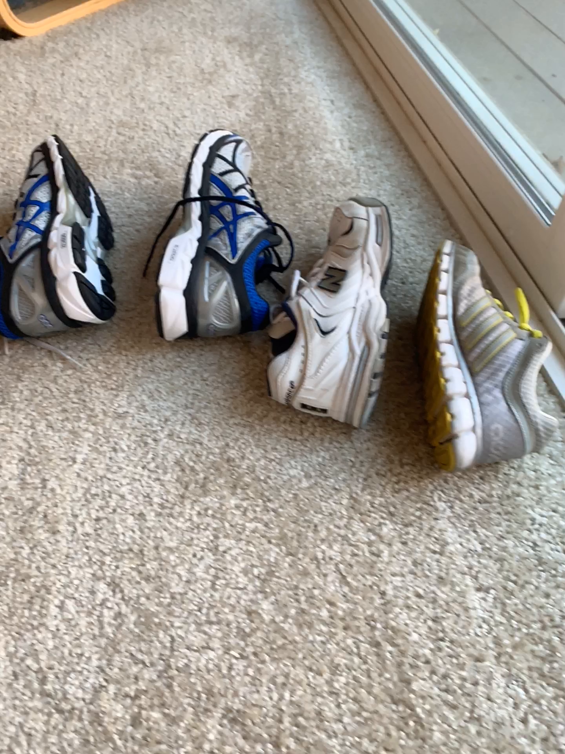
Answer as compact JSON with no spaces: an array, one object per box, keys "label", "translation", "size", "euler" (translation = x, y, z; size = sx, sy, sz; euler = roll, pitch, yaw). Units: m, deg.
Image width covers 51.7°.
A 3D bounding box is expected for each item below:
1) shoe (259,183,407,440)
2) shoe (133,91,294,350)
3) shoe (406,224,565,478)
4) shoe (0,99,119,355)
[{"label":"shoe","translation":[0.052,-0.070,0.527],"size":[0.090,0.090,0.231],"euler":[13,47,2]},{"label":"shoe","translation":[-0.060,-0.173,0.614],"size":[0.120,0.119,0.271],"euler":[5,50,-1]},{"label":"shoe","translation":[0.192,-0.025,0.567],"size":[0.110,0.100,0.221],"euler":[3,65,-1]},{"label":"shoe","translation":[-0.254,-0.168,0.613],"size":[0.130,0.070,0.281],"euler":[-10,60,-6]}]
